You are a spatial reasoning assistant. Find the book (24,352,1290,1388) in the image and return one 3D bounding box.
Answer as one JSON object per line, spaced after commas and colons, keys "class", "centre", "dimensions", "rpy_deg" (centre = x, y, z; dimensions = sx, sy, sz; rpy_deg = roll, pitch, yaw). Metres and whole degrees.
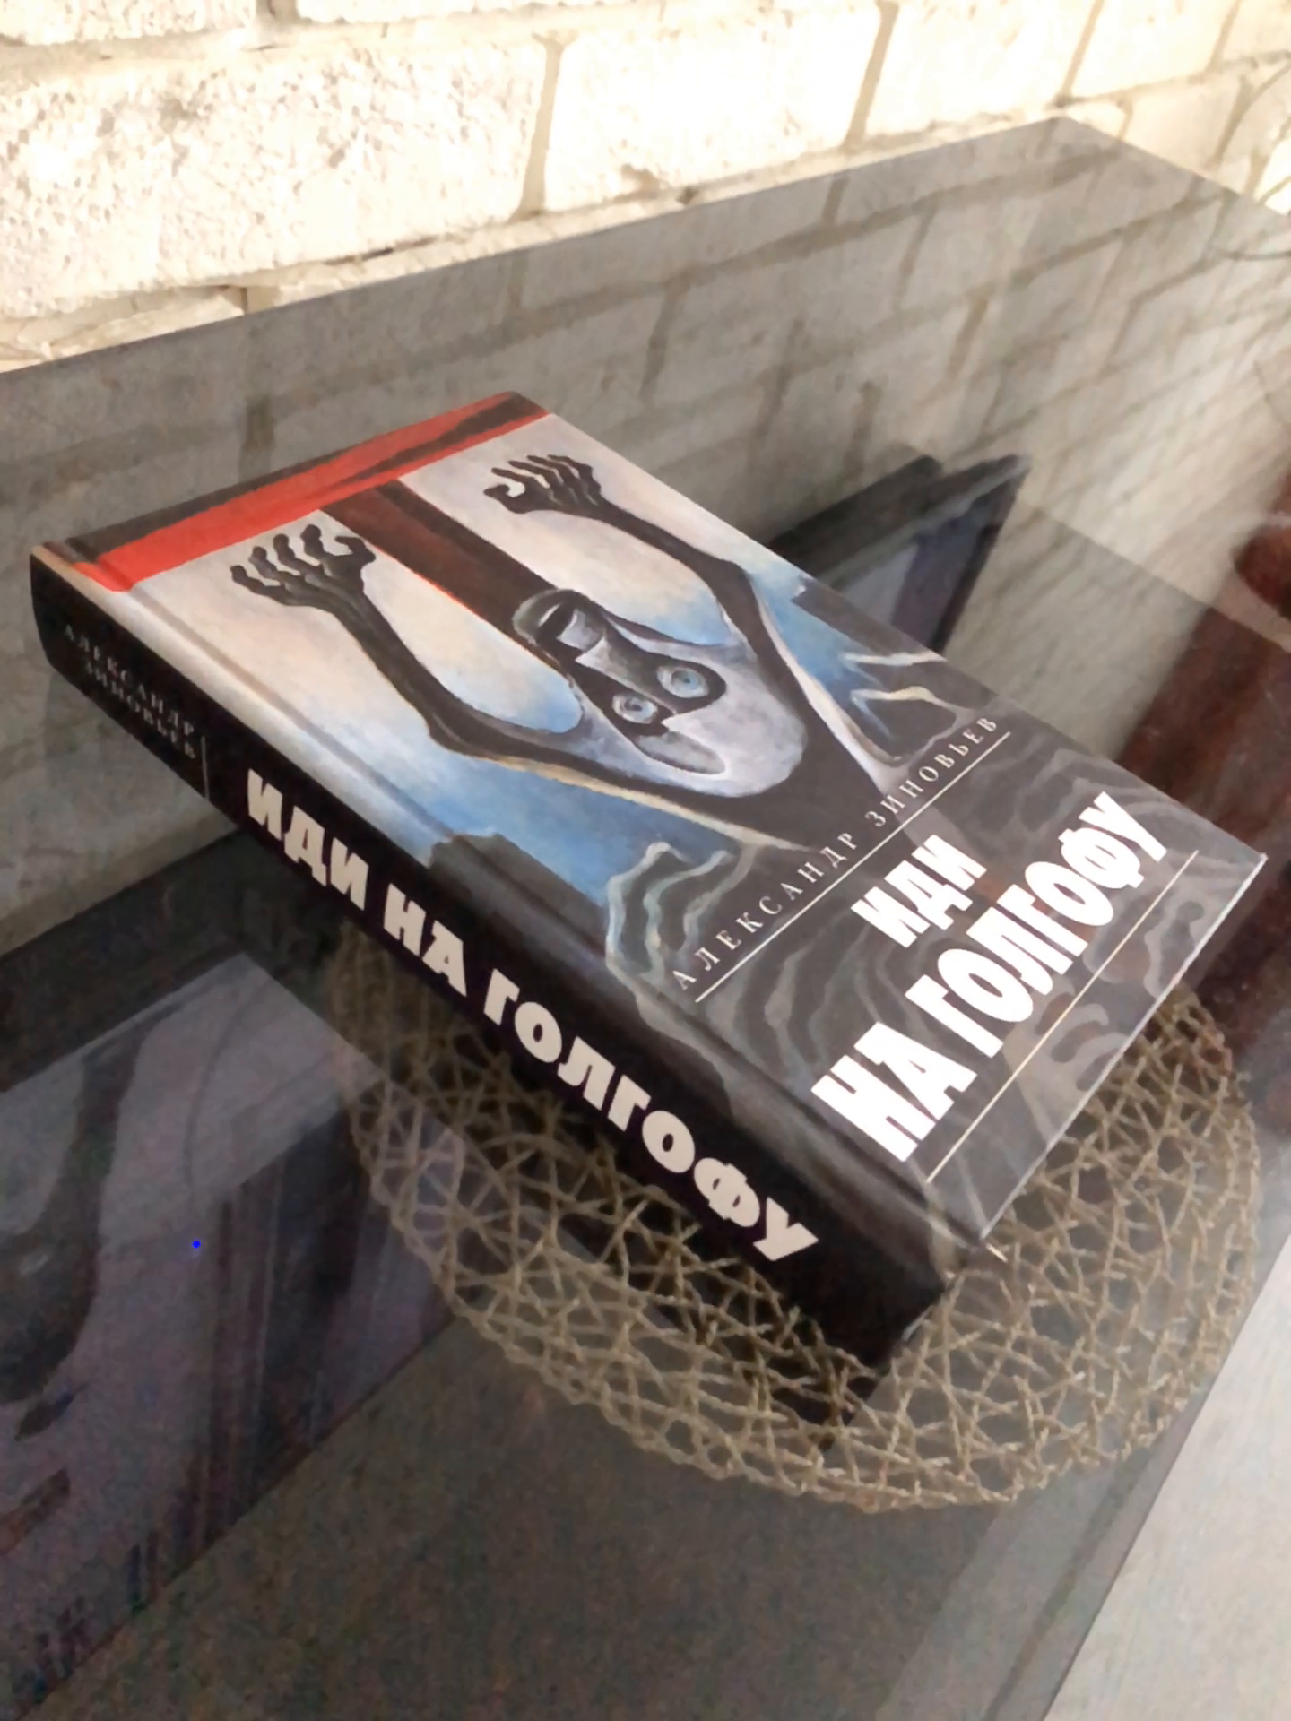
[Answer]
{"class": "book", "centre": [0.008, -0.024, 0.269], "dimensions": [0.200, 0.030, 0.141], "rpy_deg": [37, 46, 21]}
